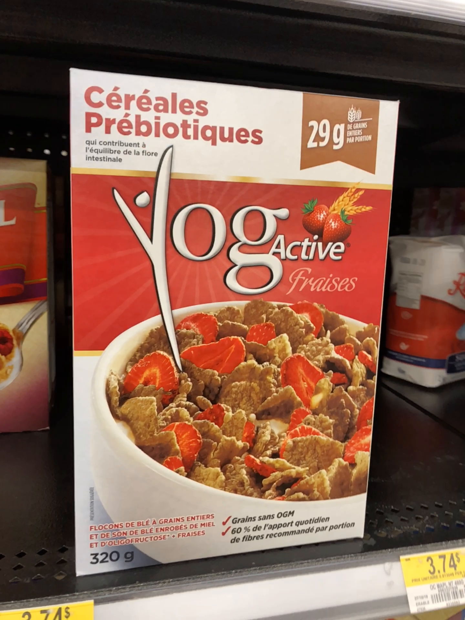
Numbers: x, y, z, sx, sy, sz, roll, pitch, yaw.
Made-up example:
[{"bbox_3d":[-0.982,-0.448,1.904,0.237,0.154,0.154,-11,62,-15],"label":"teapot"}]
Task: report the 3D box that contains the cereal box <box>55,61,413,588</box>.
[{"bbox_3d":[-0.003,0.015,0.327,0.200,0.289,0.050,0,10,-15],"label":"cereal box"}]
